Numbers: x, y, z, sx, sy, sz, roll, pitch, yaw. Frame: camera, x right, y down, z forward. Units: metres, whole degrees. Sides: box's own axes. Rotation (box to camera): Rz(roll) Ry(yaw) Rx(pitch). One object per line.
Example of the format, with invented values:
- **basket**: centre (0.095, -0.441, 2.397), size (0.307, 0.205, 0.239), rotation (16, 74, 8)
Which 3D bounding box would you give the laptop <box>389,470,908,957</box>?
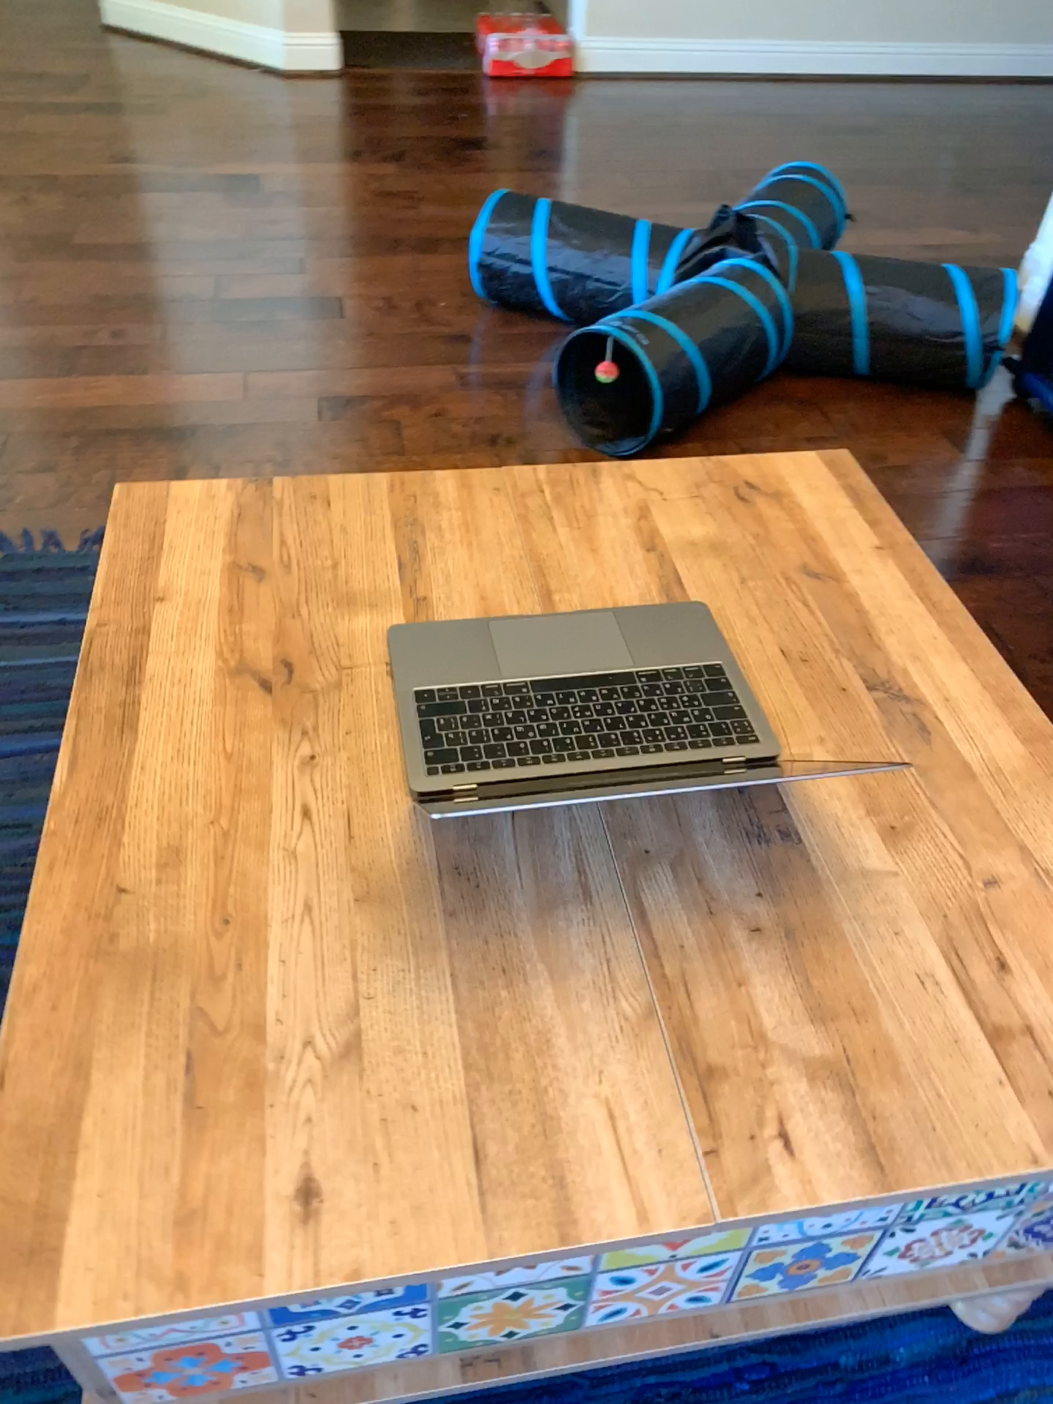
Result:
- **laptop**: centre (0.058, -0.016, 0.810), size (0.290, 0.141, 0.355), rotation (-5, 43, -9)
